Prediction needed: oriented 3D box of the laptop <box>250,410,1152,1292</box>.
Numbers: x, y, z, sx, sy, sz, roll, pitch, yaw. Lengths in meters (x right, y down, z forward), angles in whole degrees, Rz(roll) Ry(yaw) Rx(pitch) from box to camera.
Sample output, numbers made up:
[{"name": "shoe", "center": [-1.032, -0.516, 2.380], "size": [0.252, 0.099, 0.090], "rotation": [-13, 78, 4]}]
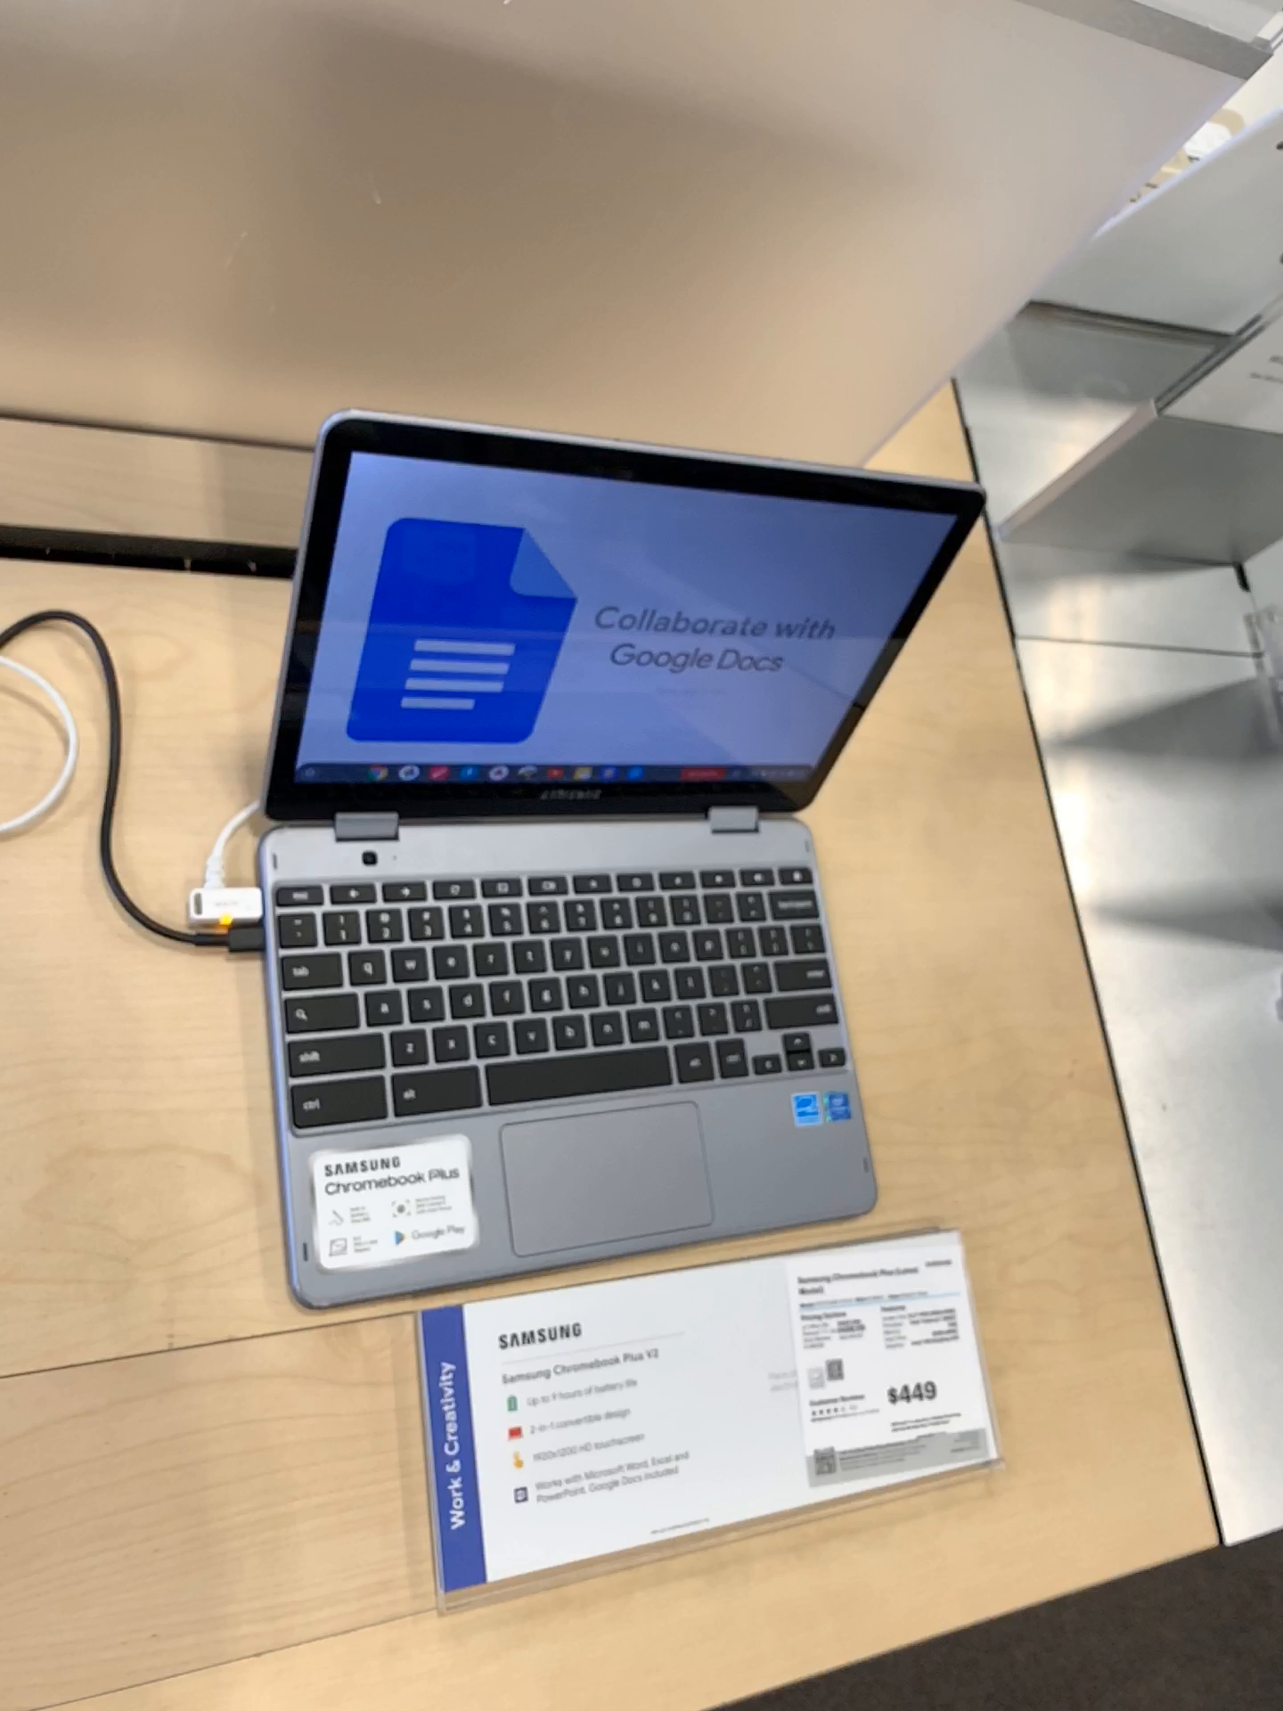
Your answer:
[{"name": "laptop", "center": [0.007, 0.009, 0.542], "size": [0.275, 0.183, 0.274], "rotation": [-2, 74, -26]}]
